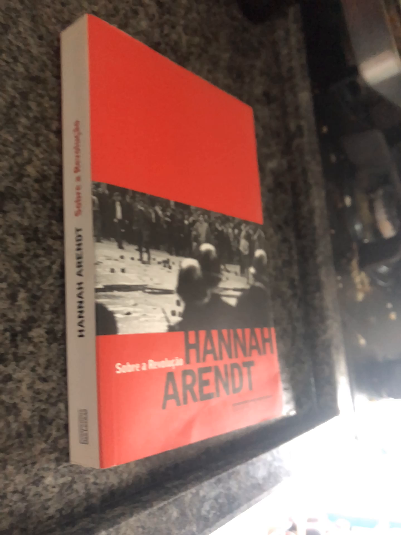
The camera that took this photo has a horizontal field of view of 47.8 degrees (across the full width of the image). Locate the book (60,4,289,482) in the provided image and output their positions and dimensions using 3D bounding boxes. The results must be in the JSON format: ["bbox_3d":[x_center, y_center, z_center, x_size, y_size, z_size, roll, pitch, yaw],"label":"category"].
[{"bbox_3d":[-0.008,-0.013,0.287,0.161,0.030,0.234,6,77,-50],"label":"book"}]
